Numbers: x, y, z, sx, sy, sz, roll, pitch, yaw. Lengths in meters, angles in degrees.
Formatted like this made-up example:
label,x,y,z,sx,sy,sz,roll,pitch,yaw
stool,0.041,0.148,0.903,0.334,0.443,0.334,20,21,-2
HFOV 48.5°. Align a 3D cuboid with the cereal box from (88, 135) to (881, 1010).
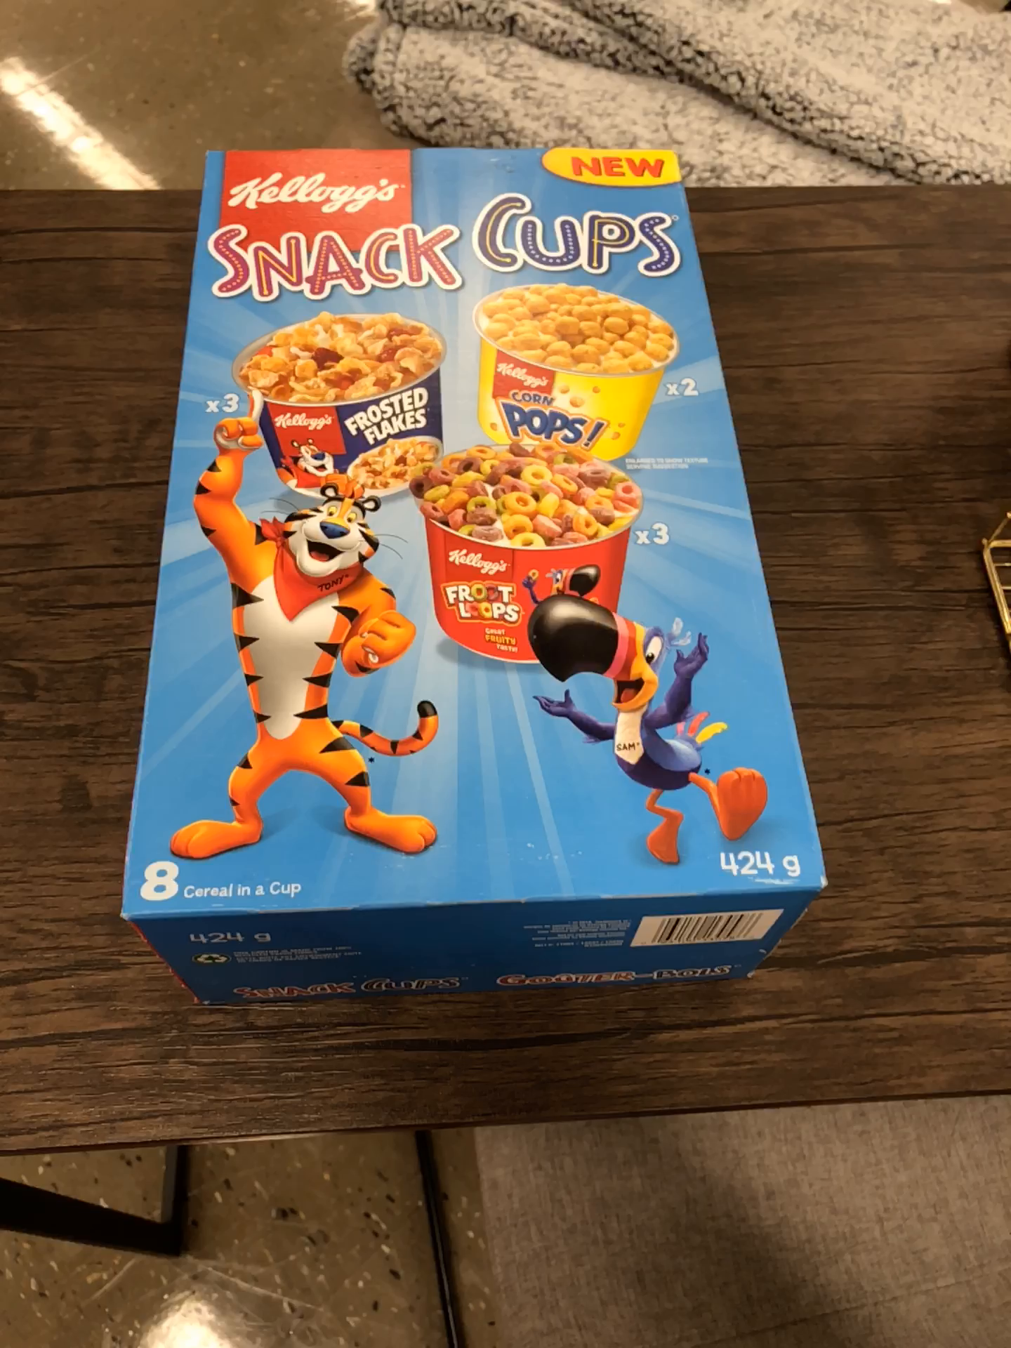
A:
label,x,y,z,sx,sy,sz,roll,pitch,yaw
cereal box,-0.015,-0.055,0.433,0.220,0.100,0.331,-2,62,-4
